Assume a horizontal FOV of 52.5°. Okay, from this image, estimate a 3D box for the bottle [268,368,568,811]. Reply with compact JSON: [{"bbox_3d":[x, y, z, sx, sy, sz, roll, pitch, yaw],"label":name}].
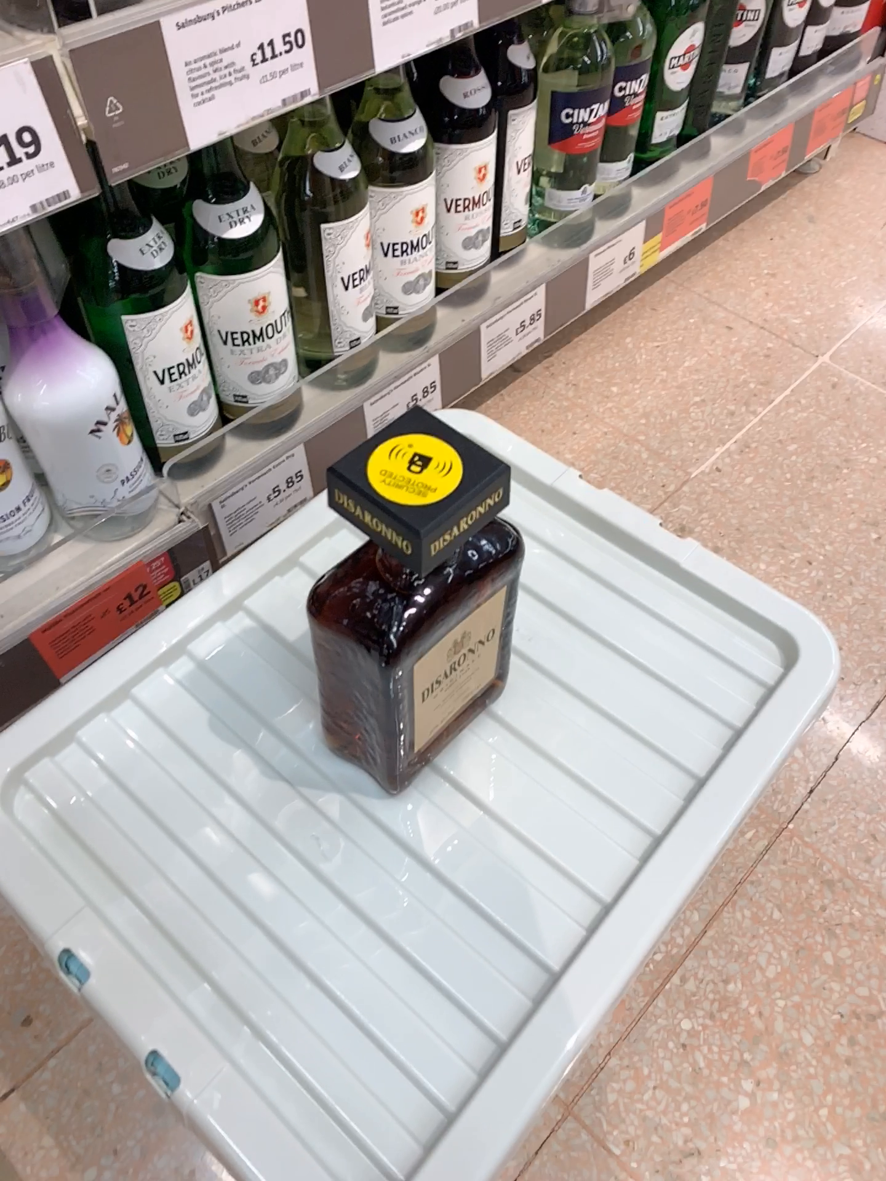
[{"bbox_3d":[-0.011,0.010,0.463,0.070,0.208,0.111,37,60,23],"label":"bottle"}]
